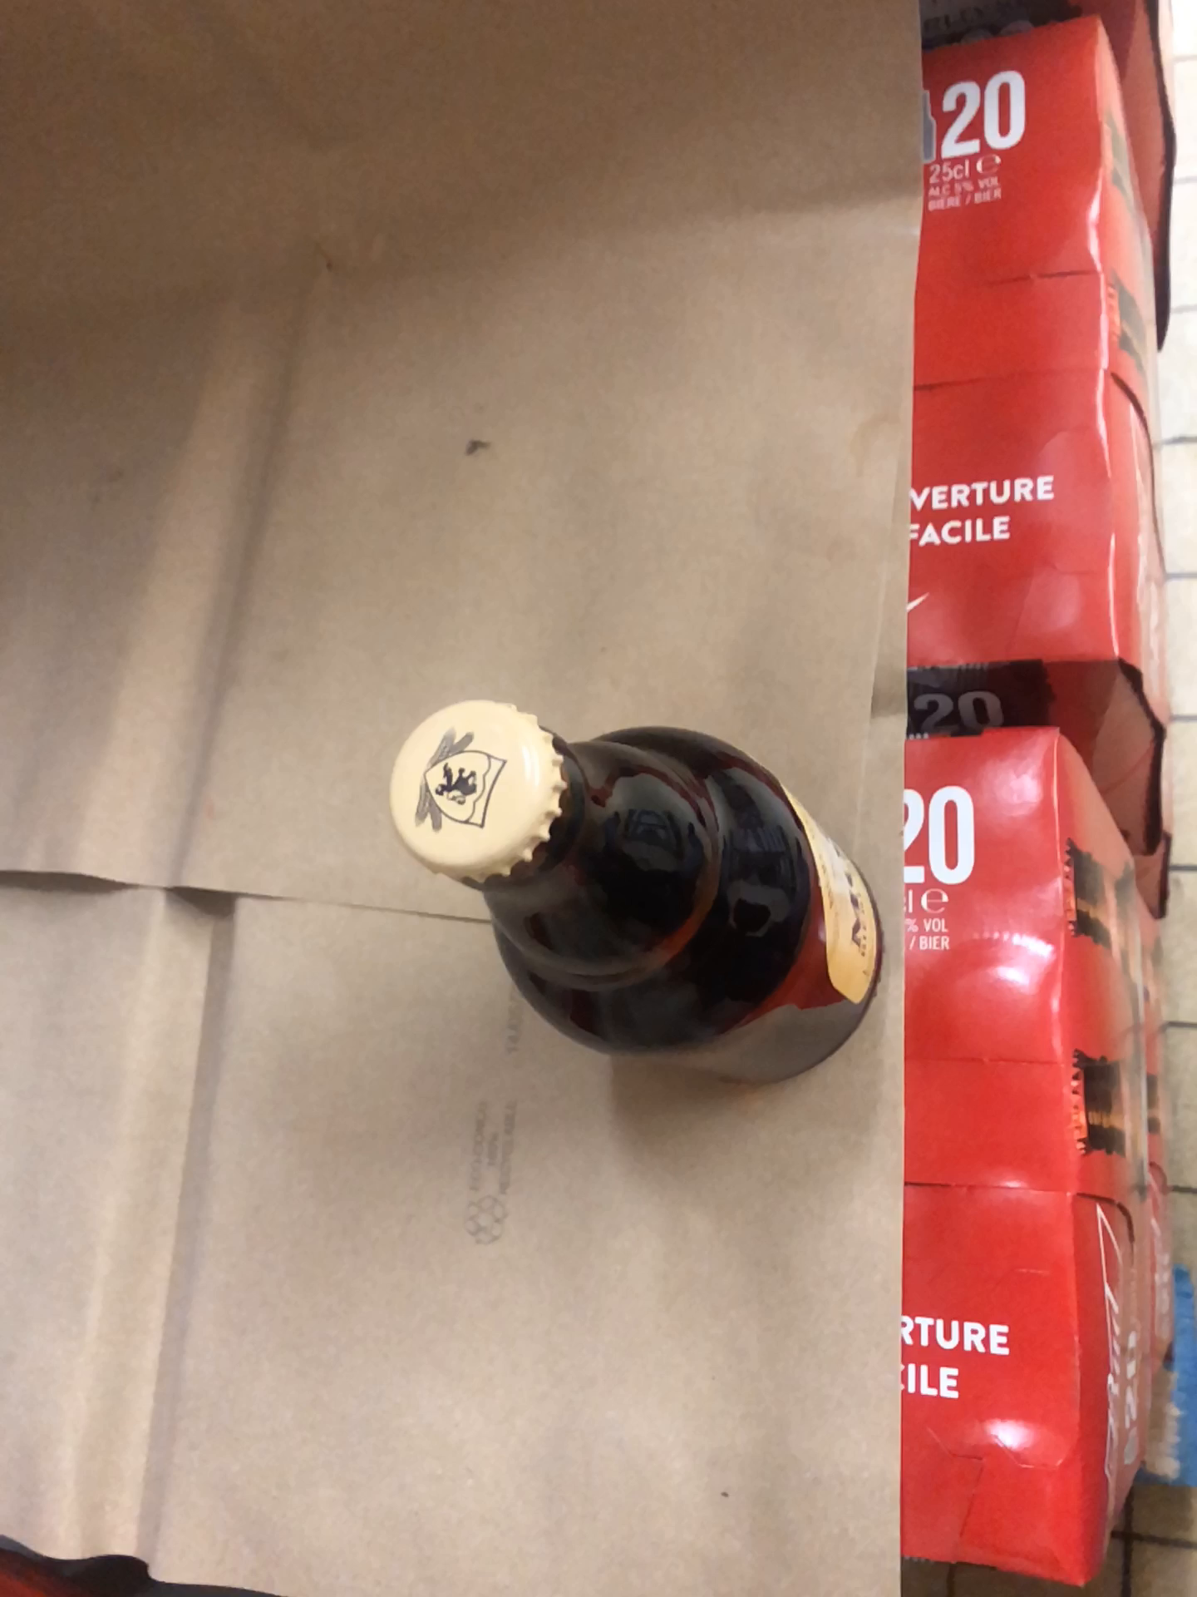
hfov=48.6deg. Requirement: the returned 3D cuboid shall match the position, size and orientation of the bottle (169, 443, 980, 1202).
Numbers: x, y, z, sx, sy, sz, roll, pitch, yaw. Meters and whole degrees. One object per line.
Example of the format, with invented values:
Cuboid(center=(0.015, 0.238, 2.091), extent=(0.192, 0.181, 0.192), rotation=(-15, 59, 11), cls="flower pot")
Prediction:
Cuboid(center=(0.012, 0.018, 0.269), extent=(0.080, 0.167, 0.080), rotation=(-5, 76, 20), cls="bottle")
